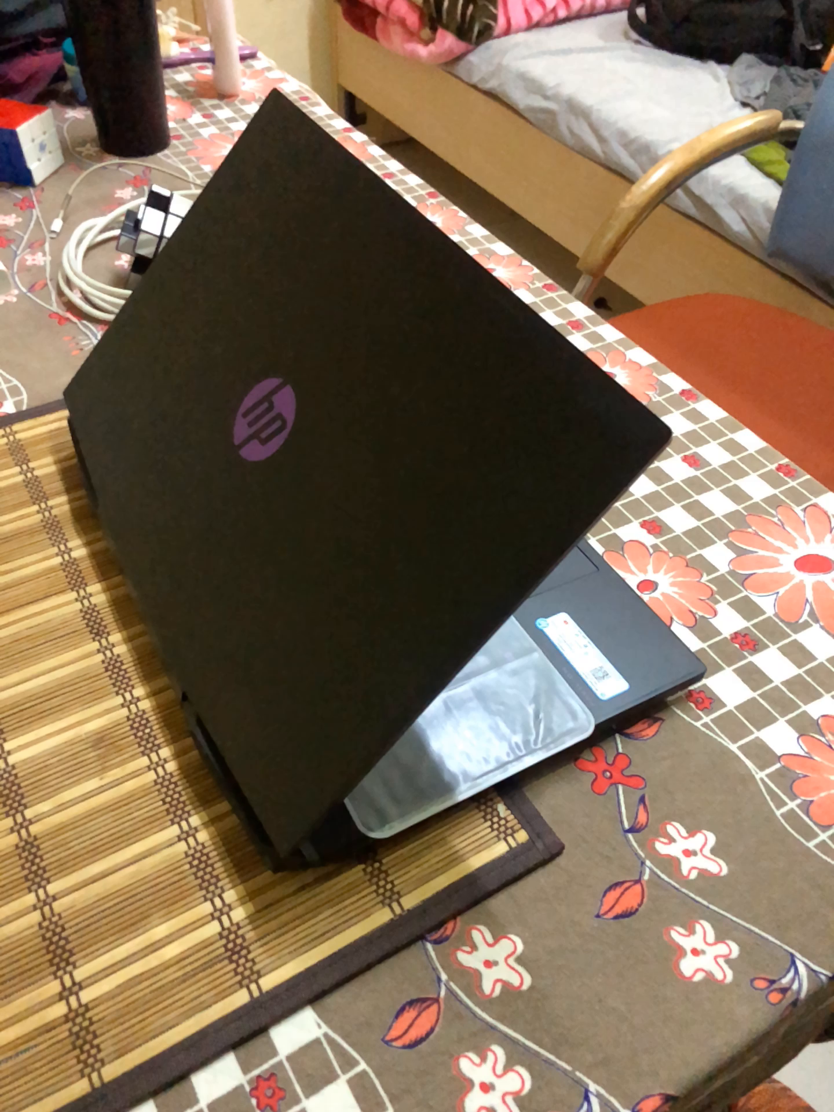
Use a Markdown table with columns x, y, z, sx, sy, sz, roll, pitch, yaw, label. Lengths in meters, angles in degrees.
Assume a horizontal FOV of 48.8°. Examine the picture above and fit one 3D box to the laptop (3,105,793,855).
| x | y | z | sx | sy | sz | roll | pitch | yaw | label |
| --- | --- | --- | --- | --- | --- | --- | --- | --- | --- |
| -0.033 | -0.079 | 0.490 | 0.237 | 0.164 | 0.357 | -18 | 51 | -24 | laptop |
